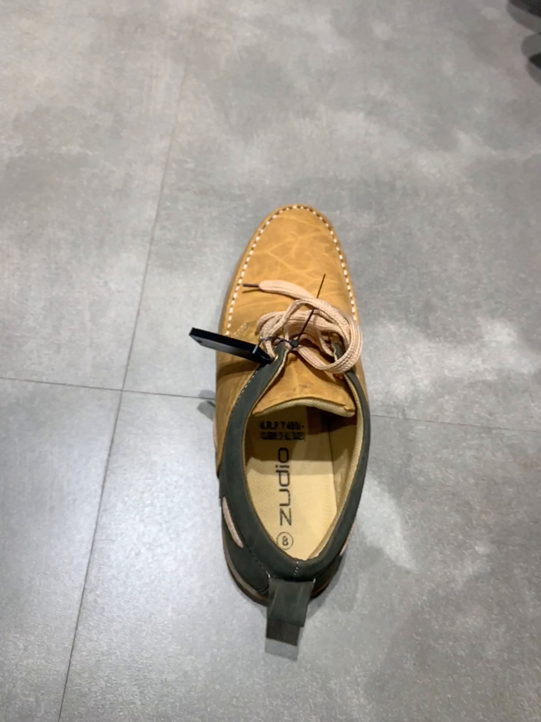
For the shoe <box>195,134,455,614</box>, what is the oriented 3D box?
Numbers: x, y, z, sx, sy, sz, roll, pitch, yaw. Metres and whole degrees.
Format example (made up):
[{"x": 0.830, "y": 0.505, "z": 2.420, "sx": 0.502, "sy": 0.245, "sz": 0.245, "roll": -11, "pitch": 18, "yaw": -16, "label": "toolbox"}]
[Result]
[{"x": 0.021, "y": 0.006, "z": 0.351, "sx": 0.111, "sy": 0.117, "sz": 0.267, "roll": 5, "pitch": 62, "yaw": -6, "label": "shoe"}]
